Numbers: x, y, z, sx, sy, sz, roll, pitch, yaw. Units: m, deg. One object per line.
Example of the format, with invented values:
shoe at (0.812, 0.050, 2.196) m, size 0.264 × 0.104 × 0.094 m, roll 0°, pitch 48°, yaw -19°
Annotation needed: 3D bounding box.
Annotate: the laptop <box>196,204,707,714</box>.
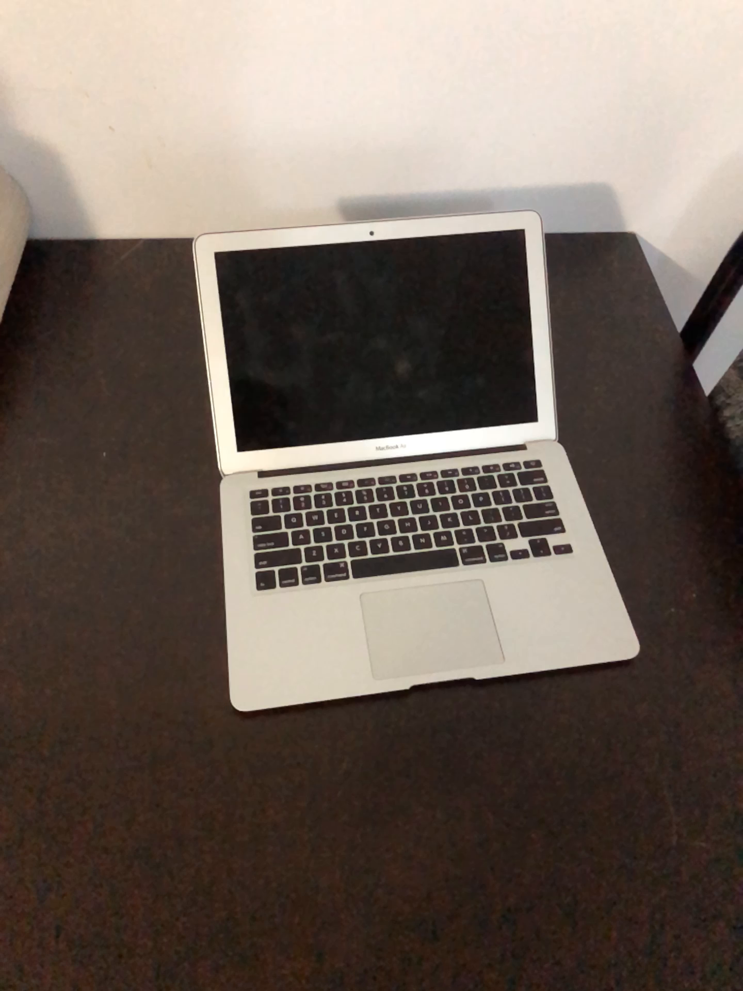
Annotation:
laptop at (0.027, -0.051, 0.641) m, size 0.303 × 0.136 × 0.362 m, roll -6°, pitch 53°, yaw -6°
